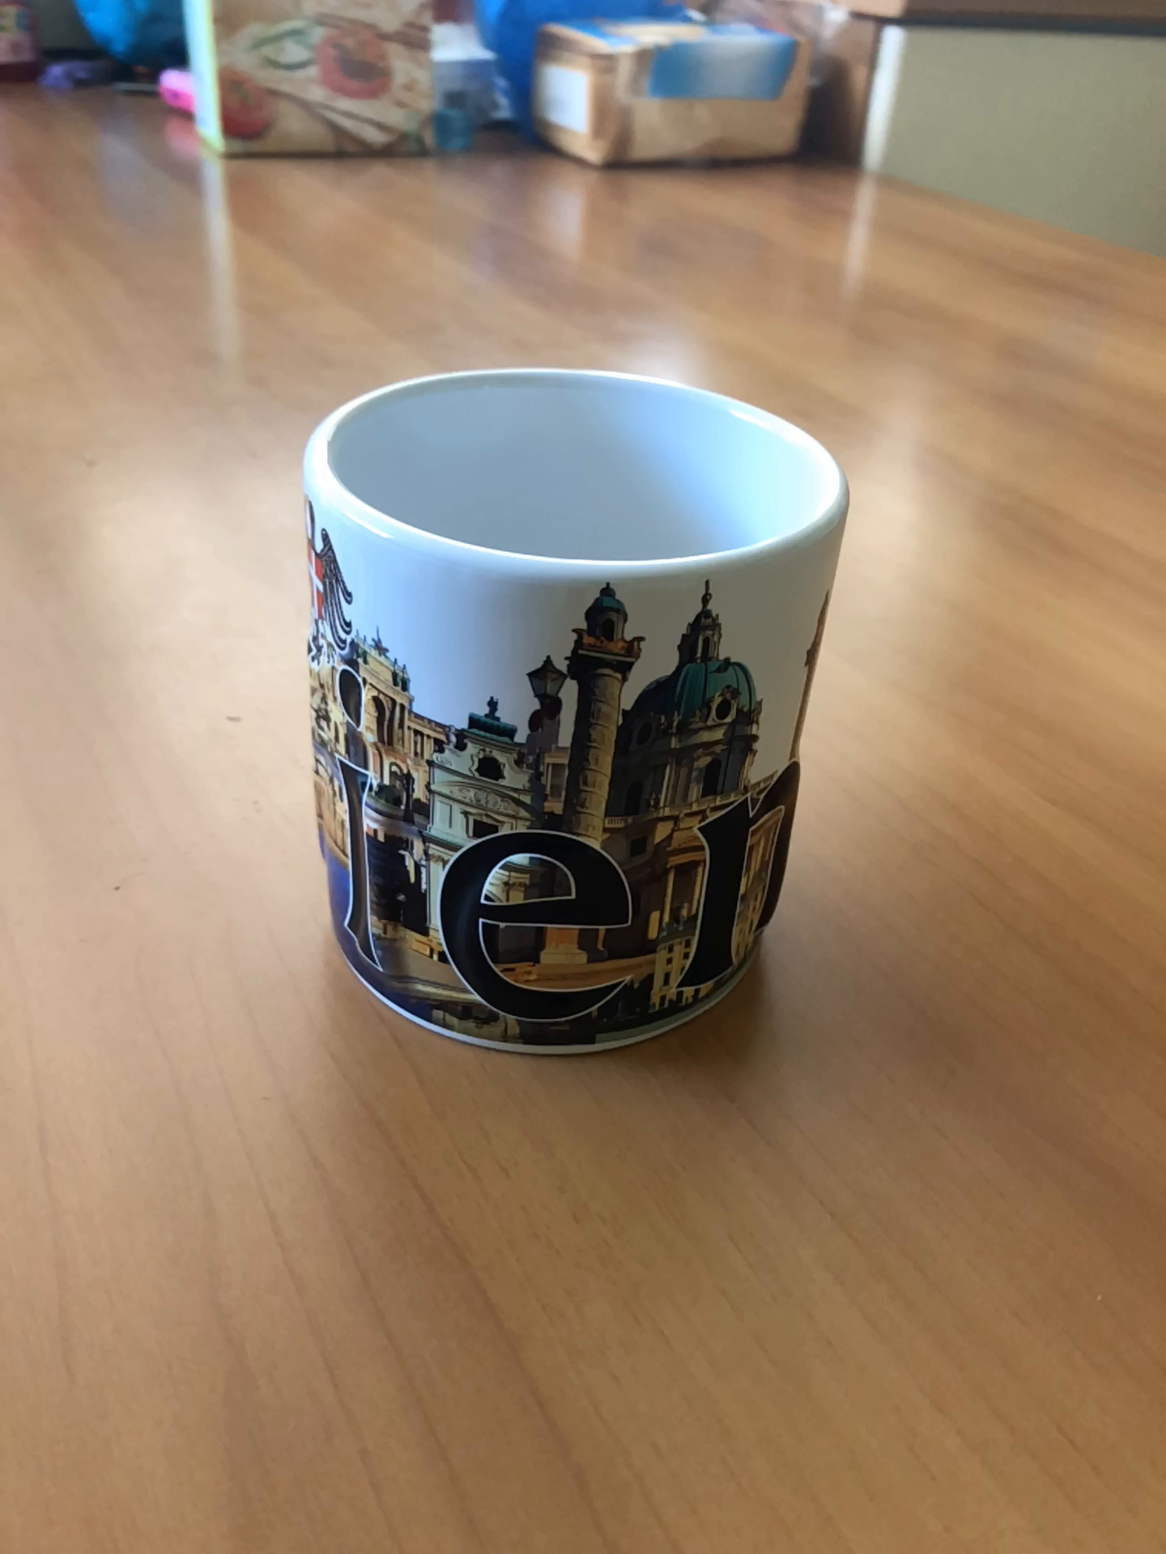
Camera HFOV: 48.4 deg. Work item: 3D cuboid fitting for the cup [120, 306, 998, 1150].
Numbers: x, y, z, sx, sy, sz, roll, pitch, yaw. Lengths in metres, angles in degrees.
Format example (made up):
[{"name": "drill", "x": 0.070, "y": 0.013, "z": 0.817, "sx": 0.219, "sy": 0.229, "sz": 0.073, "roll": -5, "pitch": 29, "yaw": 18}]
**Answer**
[{"name": "cup", "x": -0.016, "y": -0.027, "z": 0.281, "sx": 0.110, "sy": 0.099, "sz": 0.150, "roll": -17, "pitch": 40, "yaw": -28}]
